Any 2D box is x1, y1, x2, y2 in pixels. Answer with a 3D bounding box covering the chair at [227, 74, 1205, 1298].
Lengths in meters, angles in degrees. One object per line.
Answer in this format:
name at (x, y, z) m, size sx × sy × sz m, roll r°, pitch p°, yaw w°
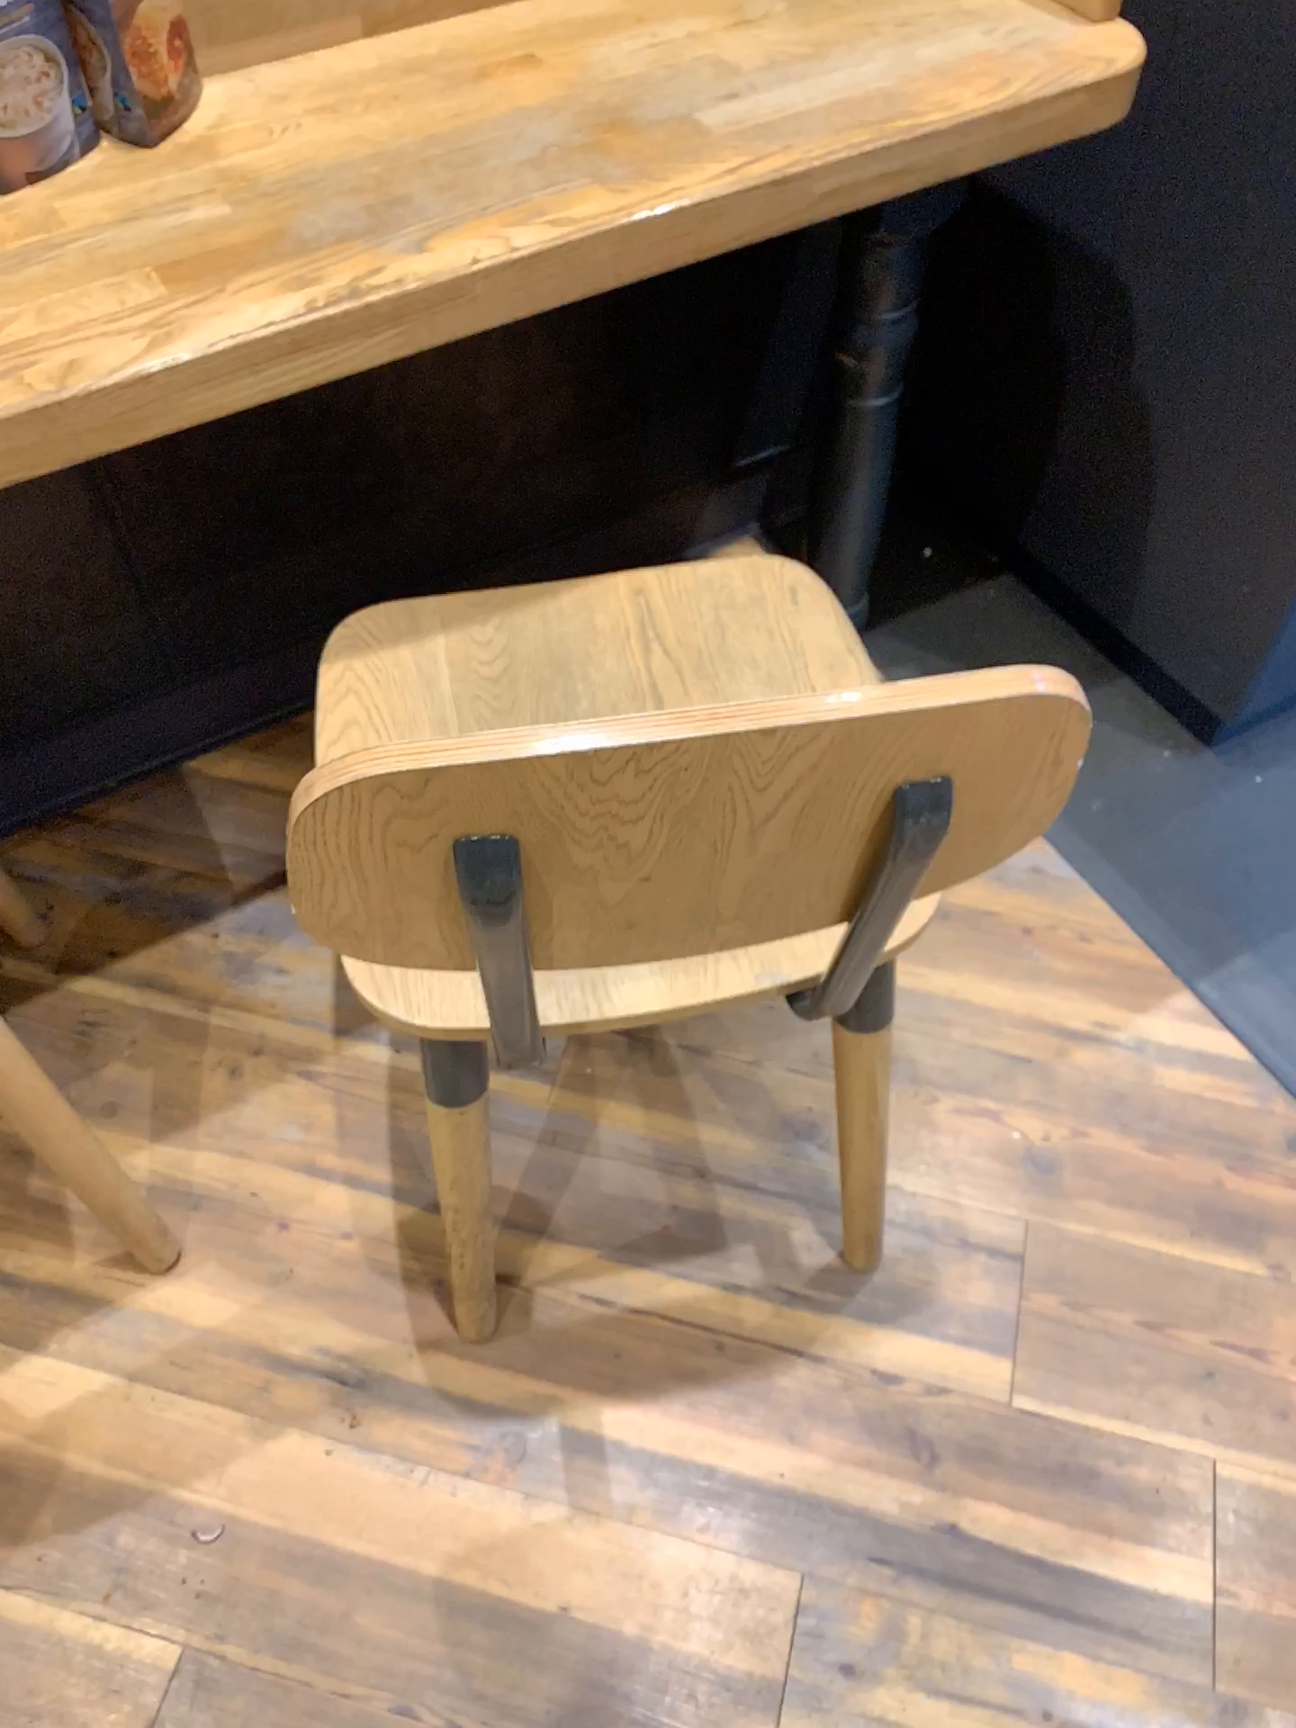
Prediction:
chair at (-0.008, -0.081, 0.968) m, size 0.410 × 0.685 × 0.504 m, roll -9°, pitch 54°, yaw -6°
